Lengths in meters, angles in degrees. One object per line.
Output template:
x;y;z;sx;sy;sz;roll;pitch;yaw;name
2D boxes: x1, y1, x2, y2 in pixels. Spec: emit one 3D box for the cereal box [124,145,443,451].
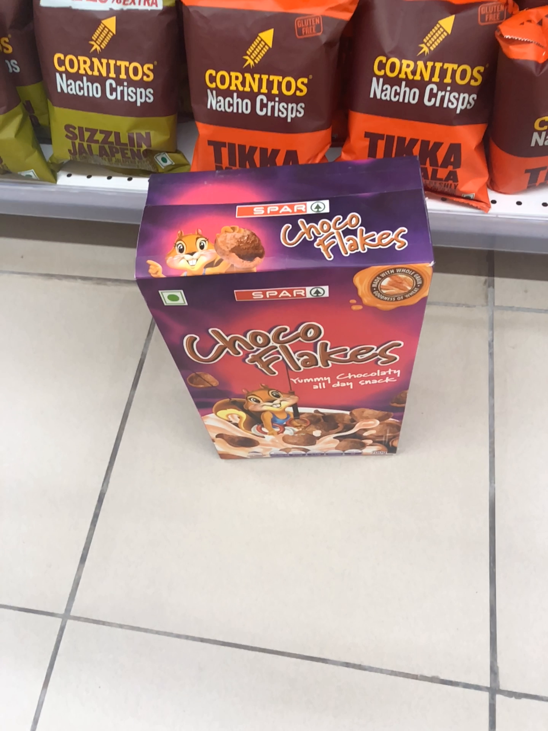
0.020;-0.026;0.550;0.200;0.340;0.090;-3;62;5;cereal box
